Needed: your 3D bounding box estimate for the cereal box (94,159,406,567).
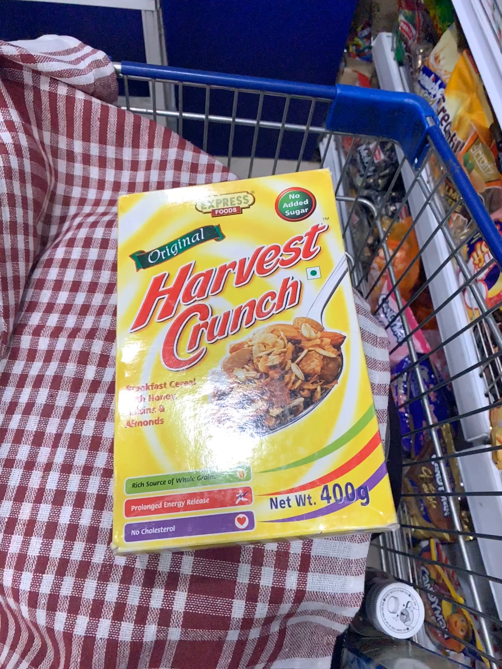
[{"bbox_3d":[-0.009,0.011,0.309,0.150,0.050,0.220,-7,69,4],"label":"cereal box"}]
